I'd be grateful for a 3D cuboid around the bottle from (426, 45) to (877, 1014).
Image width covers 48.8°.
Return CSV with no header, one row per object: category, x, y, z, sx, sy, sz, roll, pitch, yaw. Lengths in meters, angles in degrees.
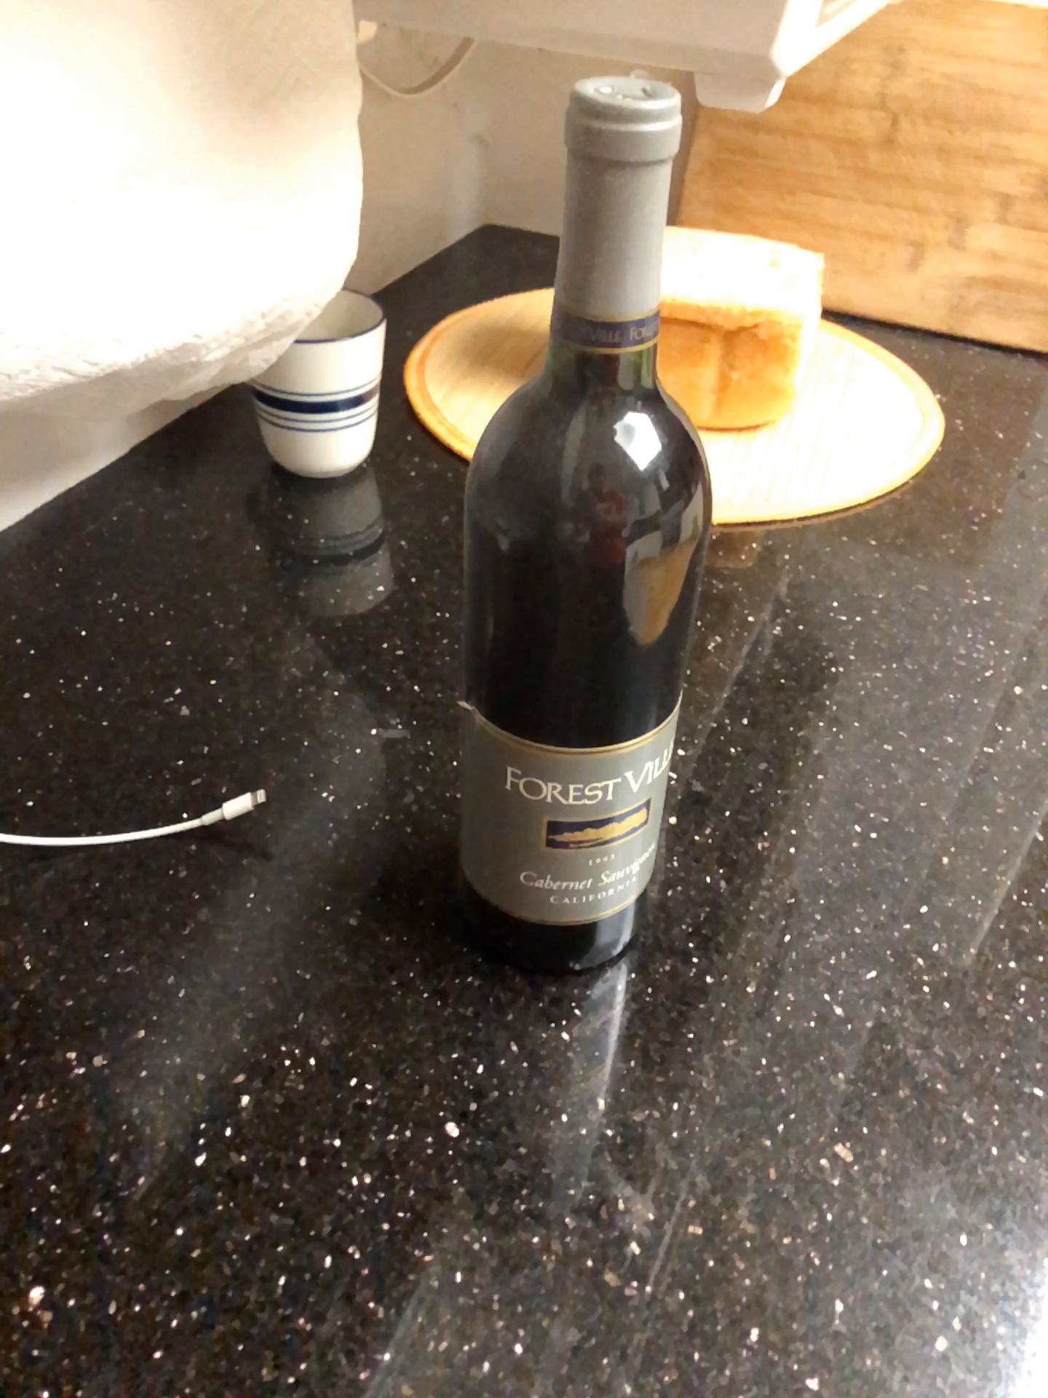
bottle,0.019,-0.034,0.375,0.080,0.298,0.090,-10,41,-17
